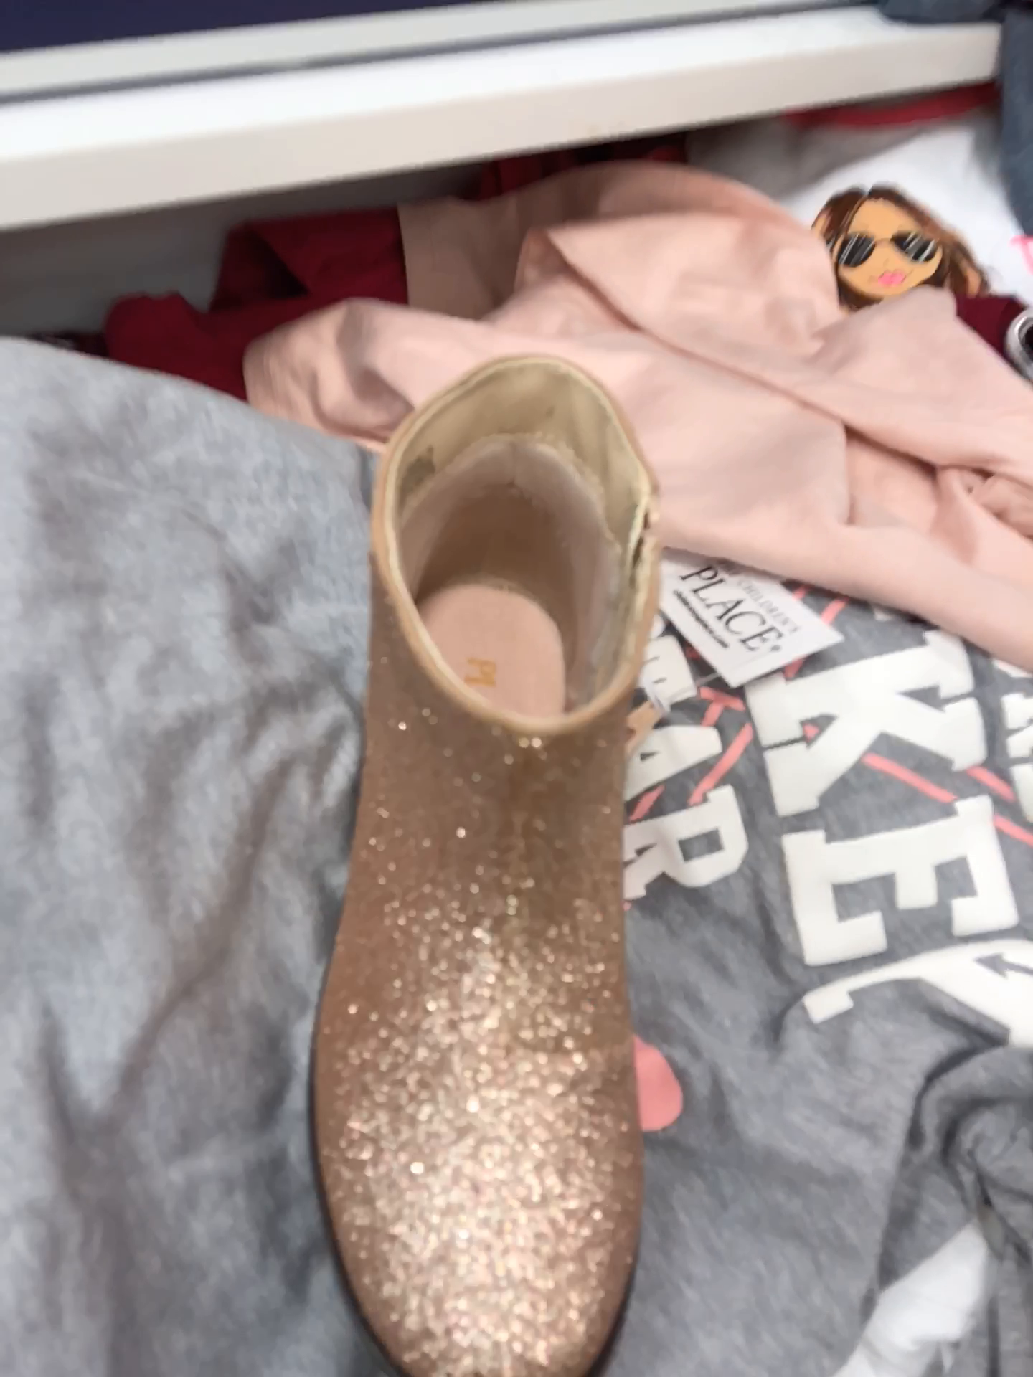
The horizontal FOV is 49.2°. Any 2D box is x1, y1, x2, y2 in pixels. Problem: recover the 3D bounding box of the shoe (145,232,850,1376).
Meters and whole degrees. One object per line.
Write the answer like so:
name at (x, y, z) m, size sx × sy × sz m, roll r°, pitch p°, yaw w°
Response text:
shoe at (-0.006, 0.015, 0.261) m, size 0.083 × 0.130 × 0.238 m, roll 2°, pitch 48°, yaw -3°
